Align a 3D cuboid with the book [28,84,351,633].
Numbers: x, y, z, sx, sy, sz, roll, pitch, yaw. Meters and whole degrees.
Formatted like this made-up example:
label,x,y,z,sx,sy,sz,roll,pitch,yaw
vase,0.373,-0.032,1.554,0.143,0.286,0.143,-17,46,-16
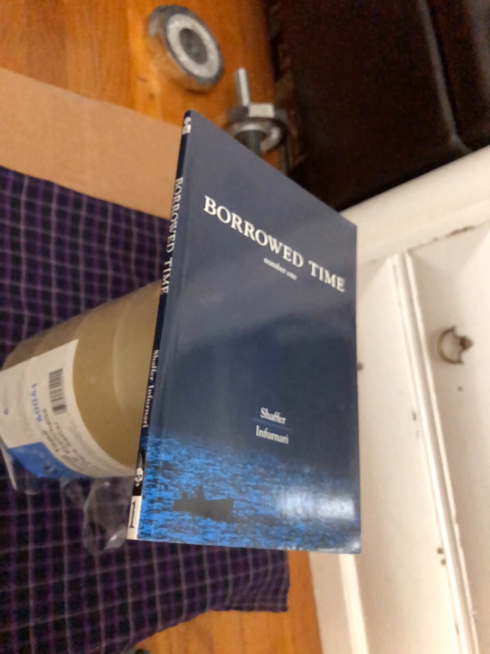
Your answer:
label,x,y,z,sx,sy,sz,roll,pitch,yaw
book,-0.002,0.016,0.270,0.161,0.010,0.230,25,58,-39
